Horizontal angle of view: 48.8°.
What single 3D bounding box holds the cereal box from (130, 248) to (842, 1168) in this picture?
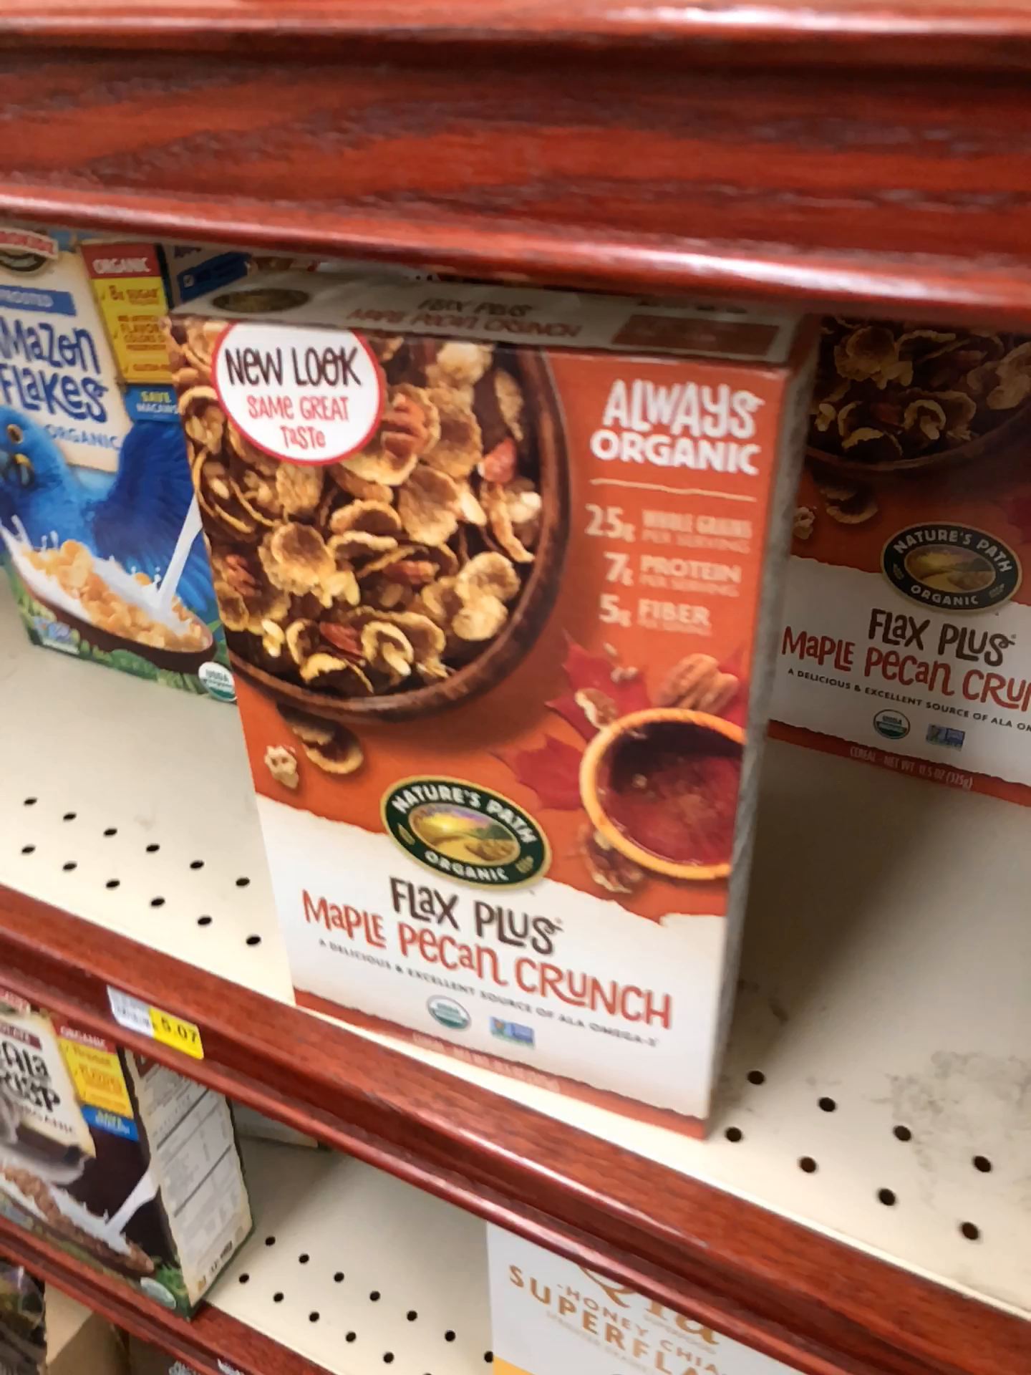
[{"bbox_3d":[-0.004,0.014,0.343,0.160,0.259,0.060,12,36,20],"label":"cereal box"}]
